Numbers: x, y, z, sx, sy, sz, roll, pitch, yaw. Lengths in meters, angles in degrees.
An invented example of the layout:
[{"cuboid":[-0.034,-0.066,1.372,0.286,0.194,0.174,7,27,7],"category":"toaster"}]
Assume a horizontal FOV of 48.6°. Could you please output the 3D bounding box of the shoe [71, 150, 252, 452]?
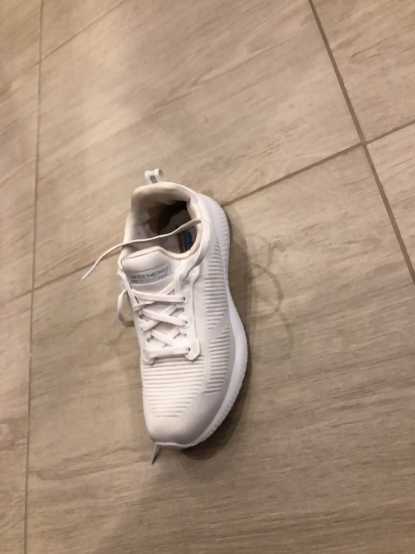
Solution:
[{"cuboid":[-0.033,0.030,0.405,0.090,0.120,0.231,-12,67,28],"category":"shoe"}]
